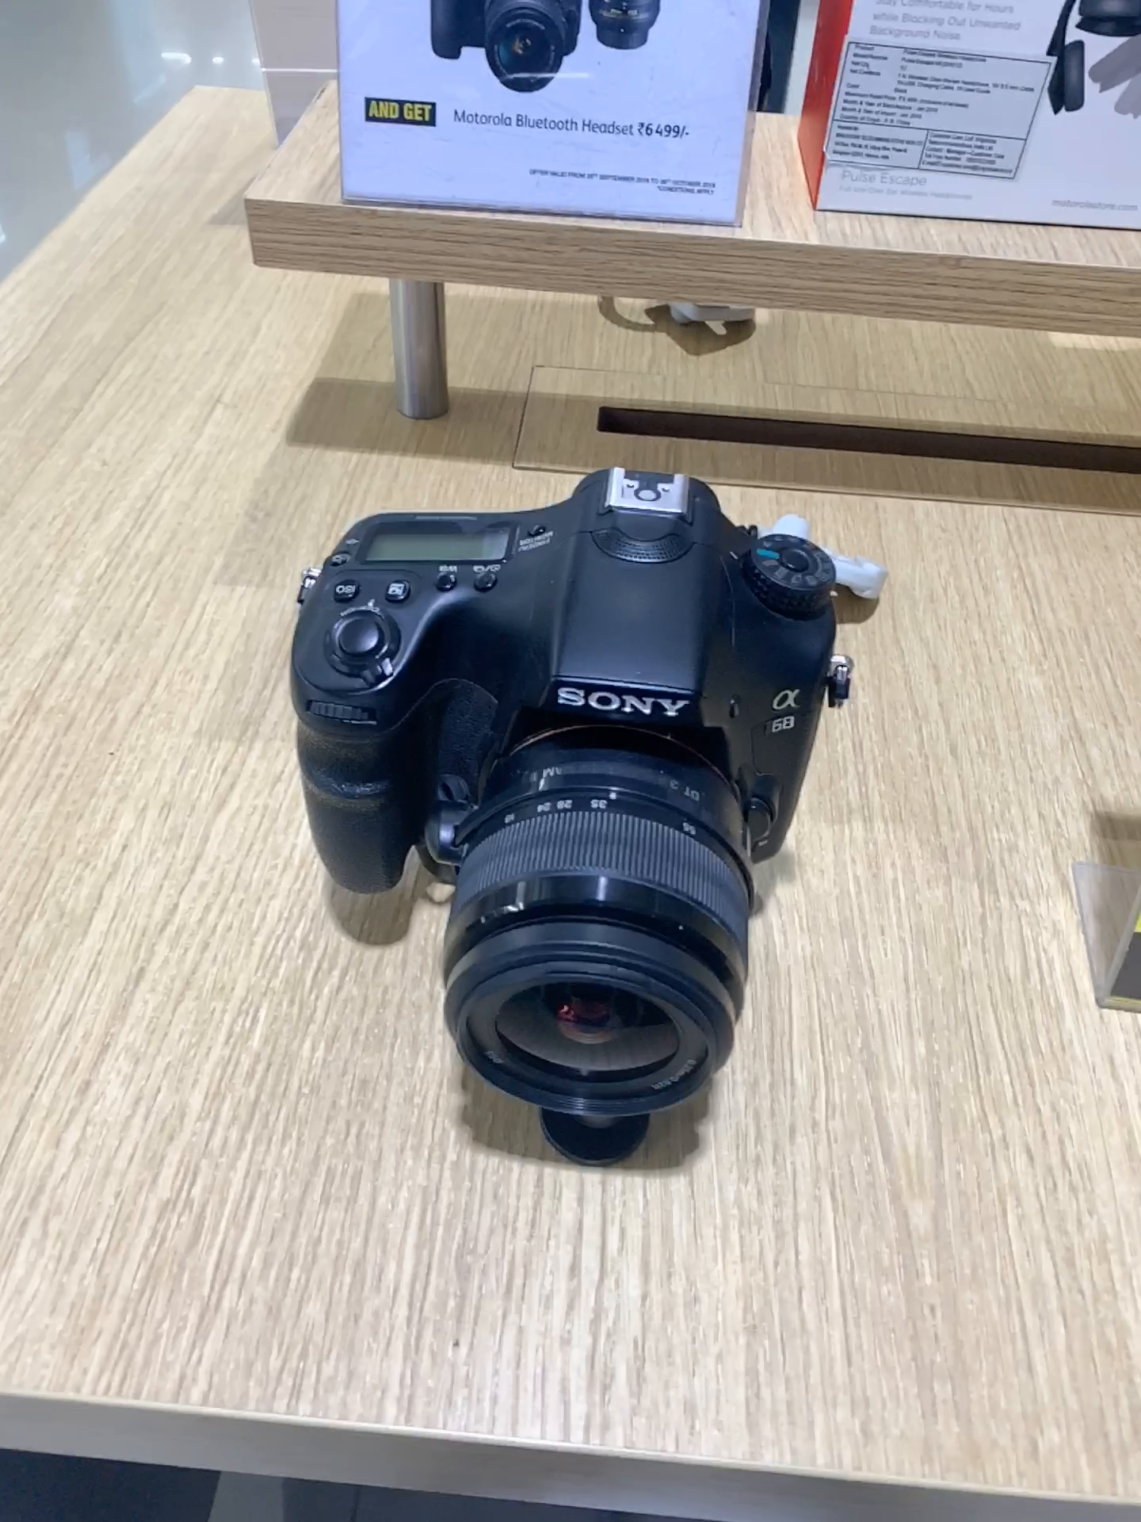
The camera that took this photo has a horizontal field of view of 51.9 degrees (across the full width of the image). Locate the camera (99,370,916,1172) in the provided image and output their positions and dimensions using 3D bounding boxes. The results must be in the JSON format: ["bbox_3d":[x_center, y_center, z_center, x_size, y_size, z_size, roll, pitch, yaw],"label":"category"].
[{"bbox_3d":[-0.003,-0.009,0.290,0.140,0.090,0.171,6,45,4],"label":"camera"}]
